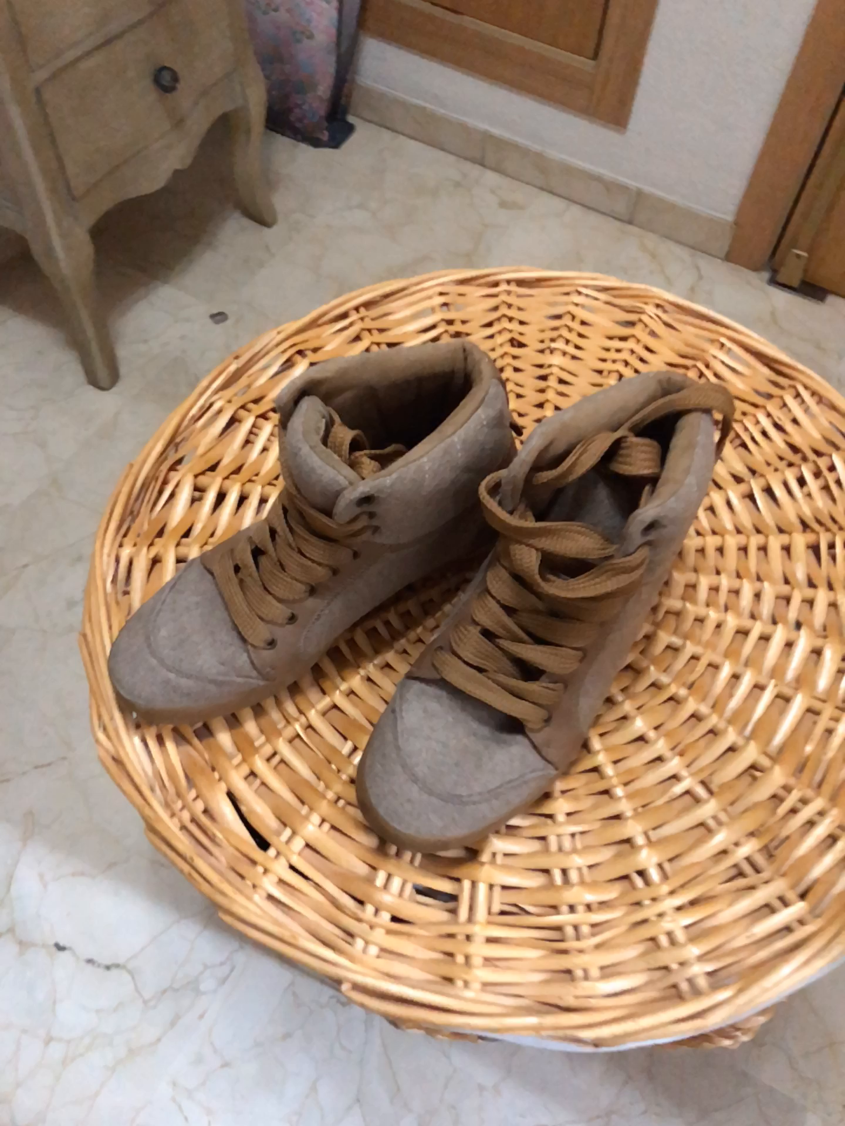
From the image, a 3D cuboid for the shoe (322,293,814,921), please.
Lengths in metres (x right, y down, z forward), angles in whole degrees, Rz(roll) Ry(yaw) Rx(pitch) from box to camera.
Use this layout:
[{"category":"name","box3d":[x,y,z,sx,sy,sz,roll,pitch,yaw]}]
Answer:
[{"category":"shoe","box3d":[0.067,0.022,0.448,0.096,0.168,0.239,30,61,16]}]

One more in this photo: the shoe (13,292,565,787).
[{"category":"shoe","box3d":[-0.057,-0.008,0.494,0.238,0.178,0.079,-29,63,-20]}]
